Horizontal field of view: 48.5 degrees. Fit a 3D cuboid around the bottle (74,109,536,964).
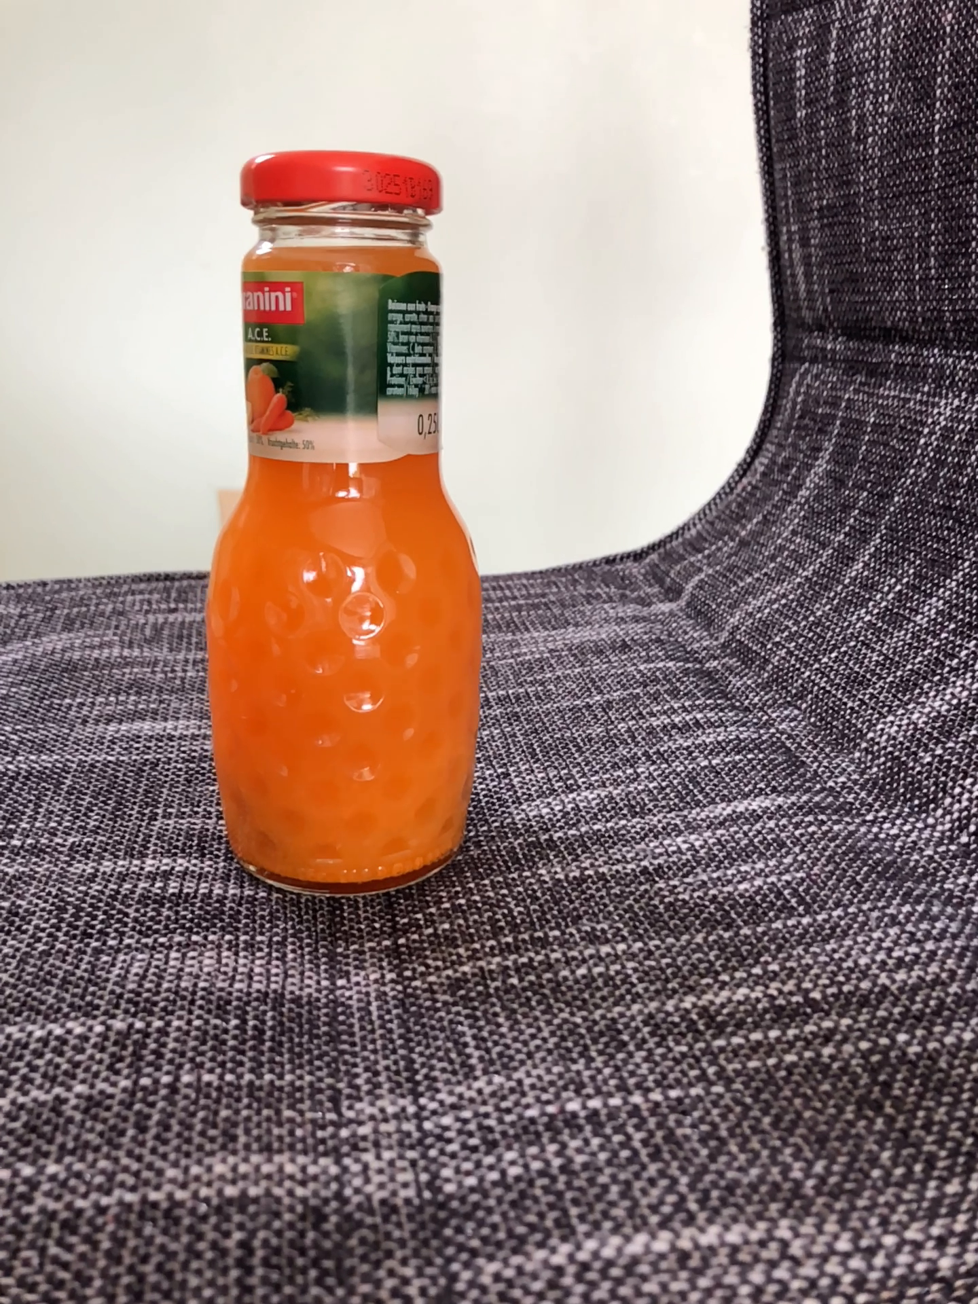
[{"bbox_3d":[-0.037,-0.025,0.231,0.060,0.149,0.070,-14,21,-35],"label":"bottle"}]
